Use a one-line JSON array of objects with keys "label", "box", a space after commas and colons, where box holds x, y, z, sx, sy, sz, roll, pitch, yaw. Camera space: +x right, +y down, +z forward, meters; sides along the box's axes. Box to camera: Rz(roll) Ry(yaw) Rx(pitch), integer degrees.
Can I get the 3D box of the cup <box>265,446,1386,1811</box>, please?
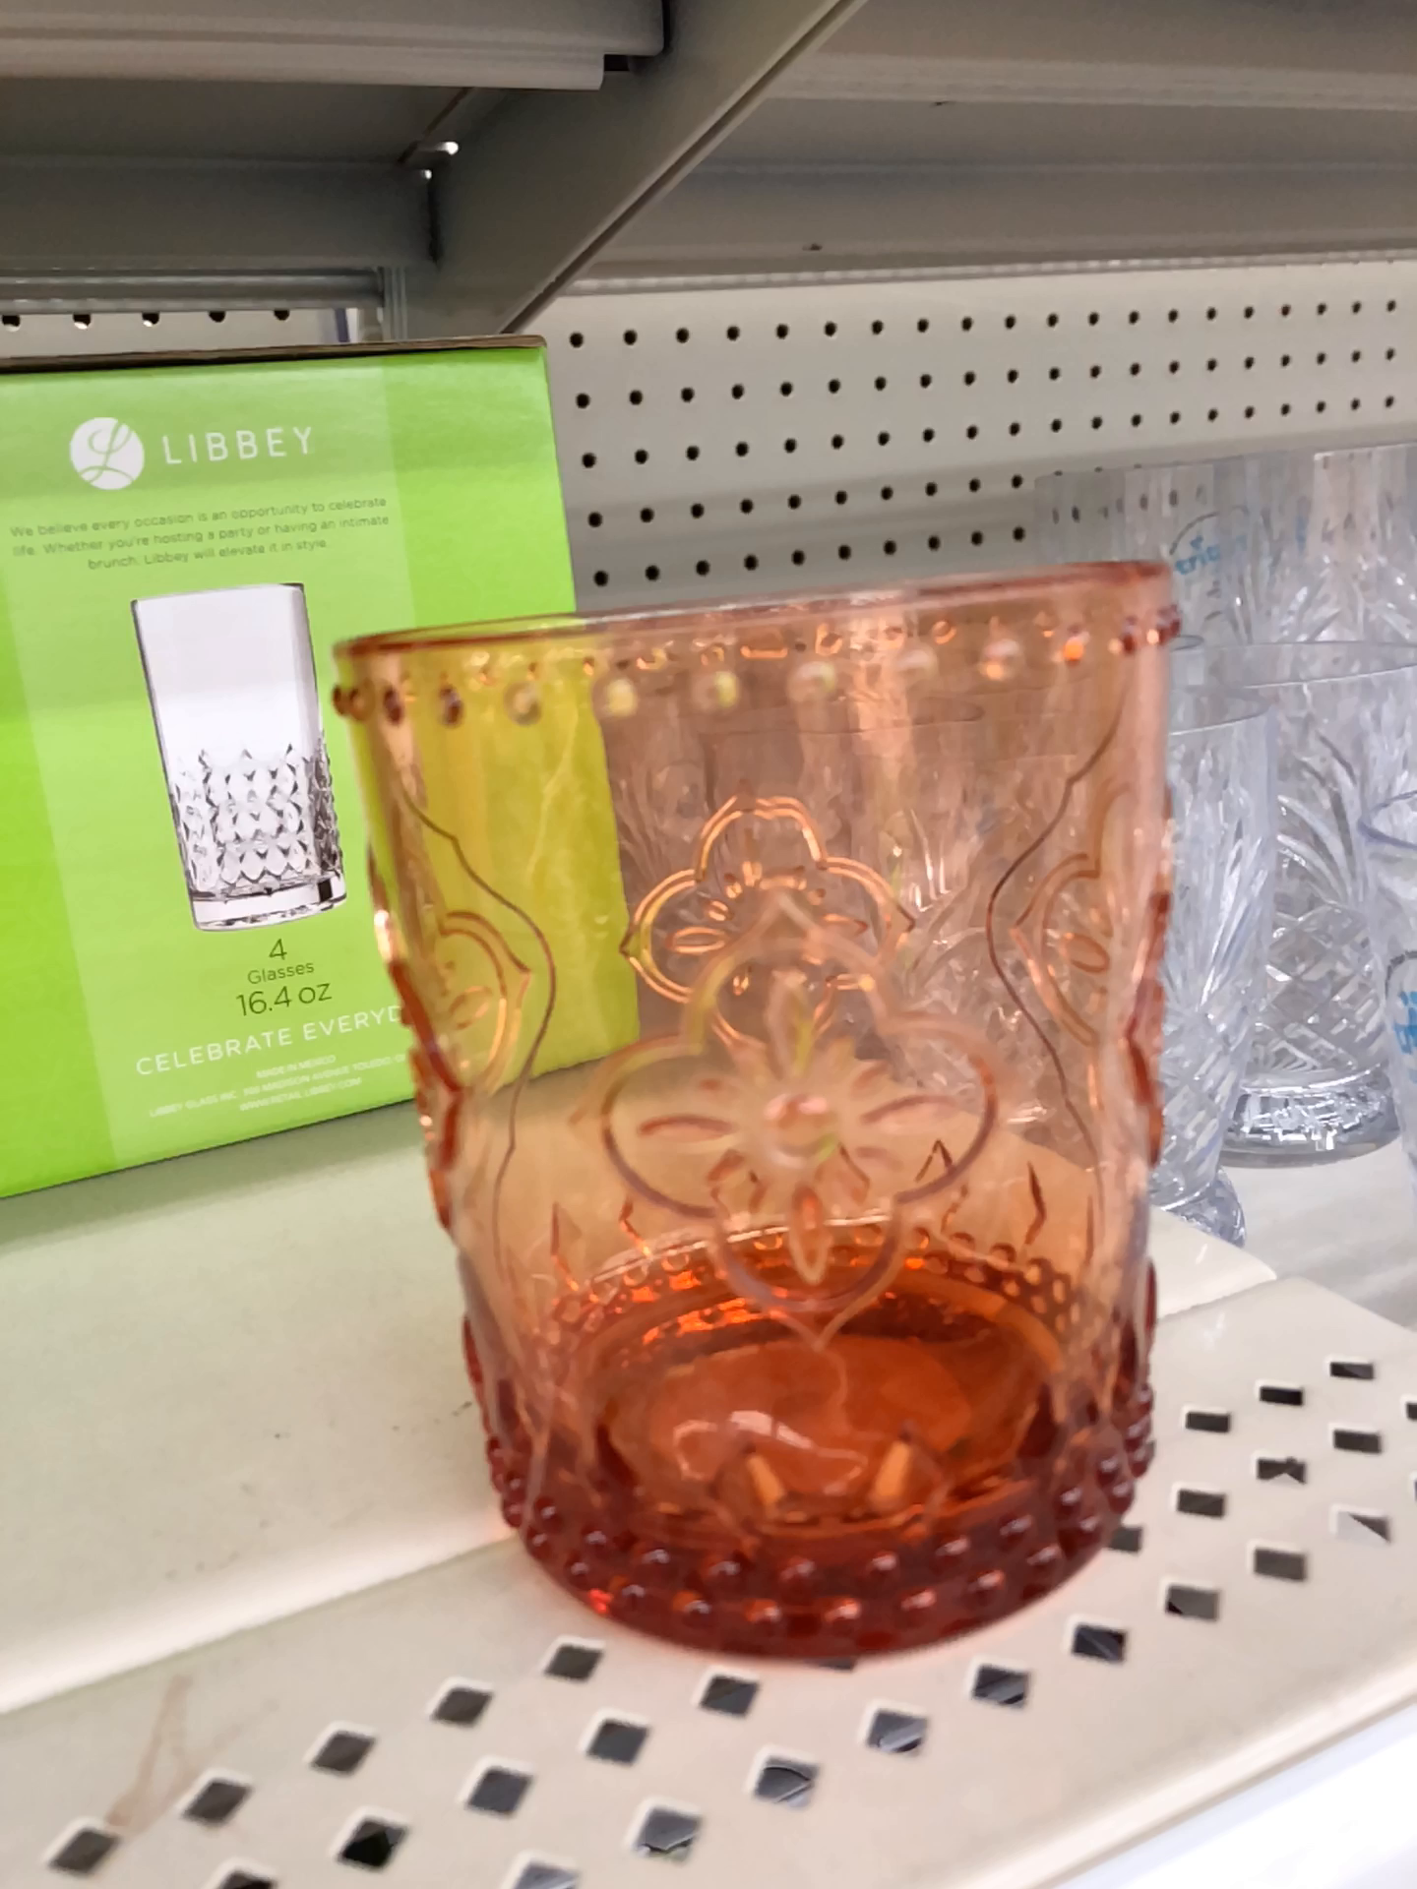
[{"label": "cup", "box": [0.019, 0.006, 0.179, 0.080, 0.110, 0.090, 7, 18, 43]}]
